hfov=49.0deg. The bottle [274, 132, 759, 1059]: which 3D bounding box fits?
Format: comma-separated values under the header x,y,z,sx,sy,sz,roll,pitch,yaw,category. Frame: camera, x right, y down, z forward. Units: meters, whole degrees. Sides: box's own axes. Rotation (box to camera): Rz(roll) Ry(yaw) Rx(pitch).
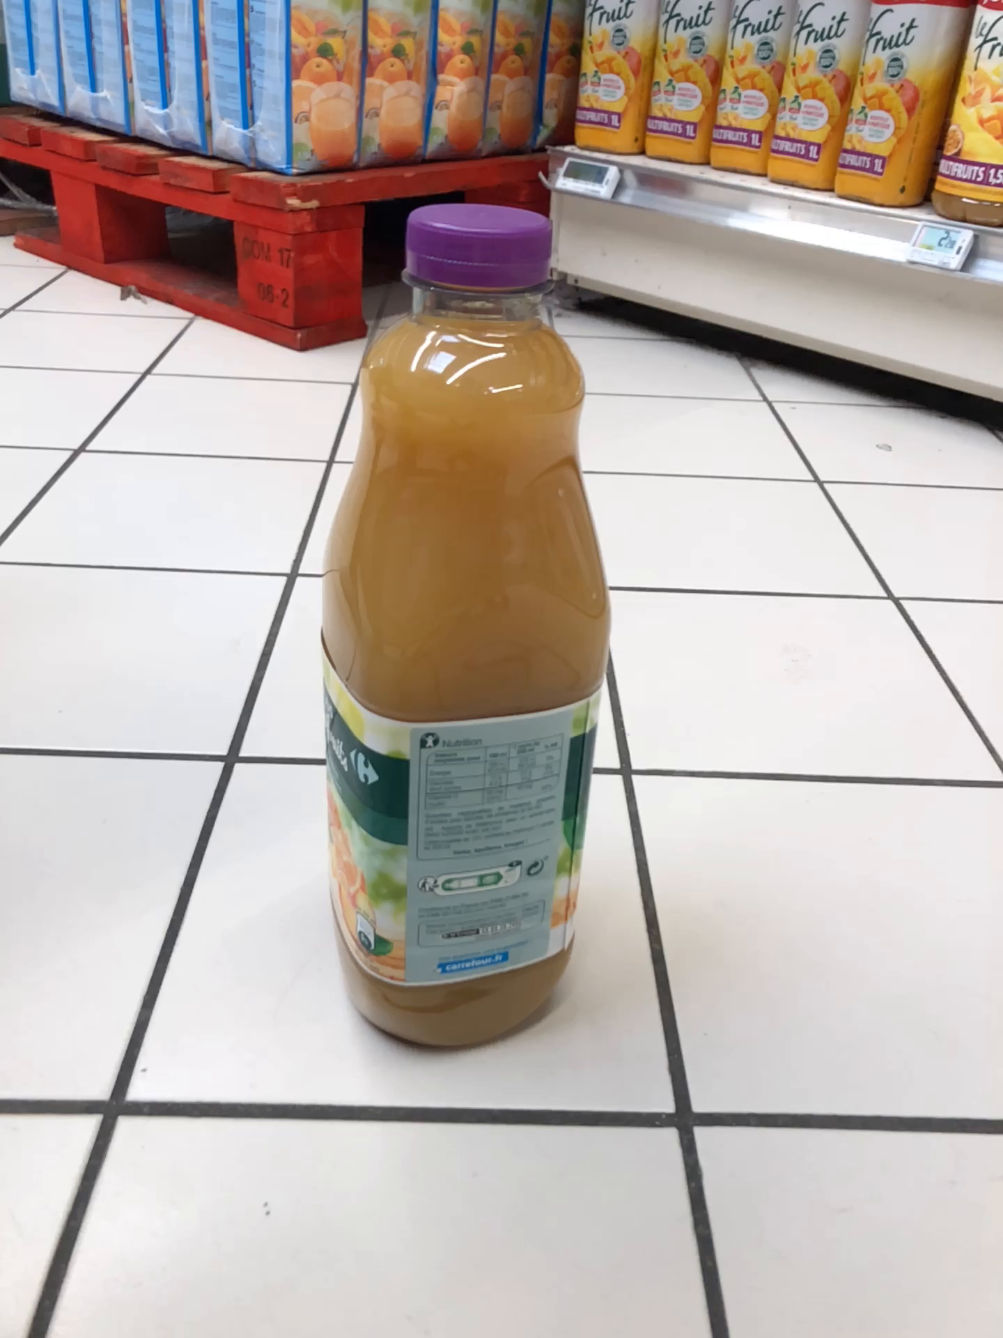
x,y,z,sx,sy,sz,roll,pitch,yaw,category
-0.004,-0.016,0.364,0.100,0.278,0.100,1,32,-1,bottle
